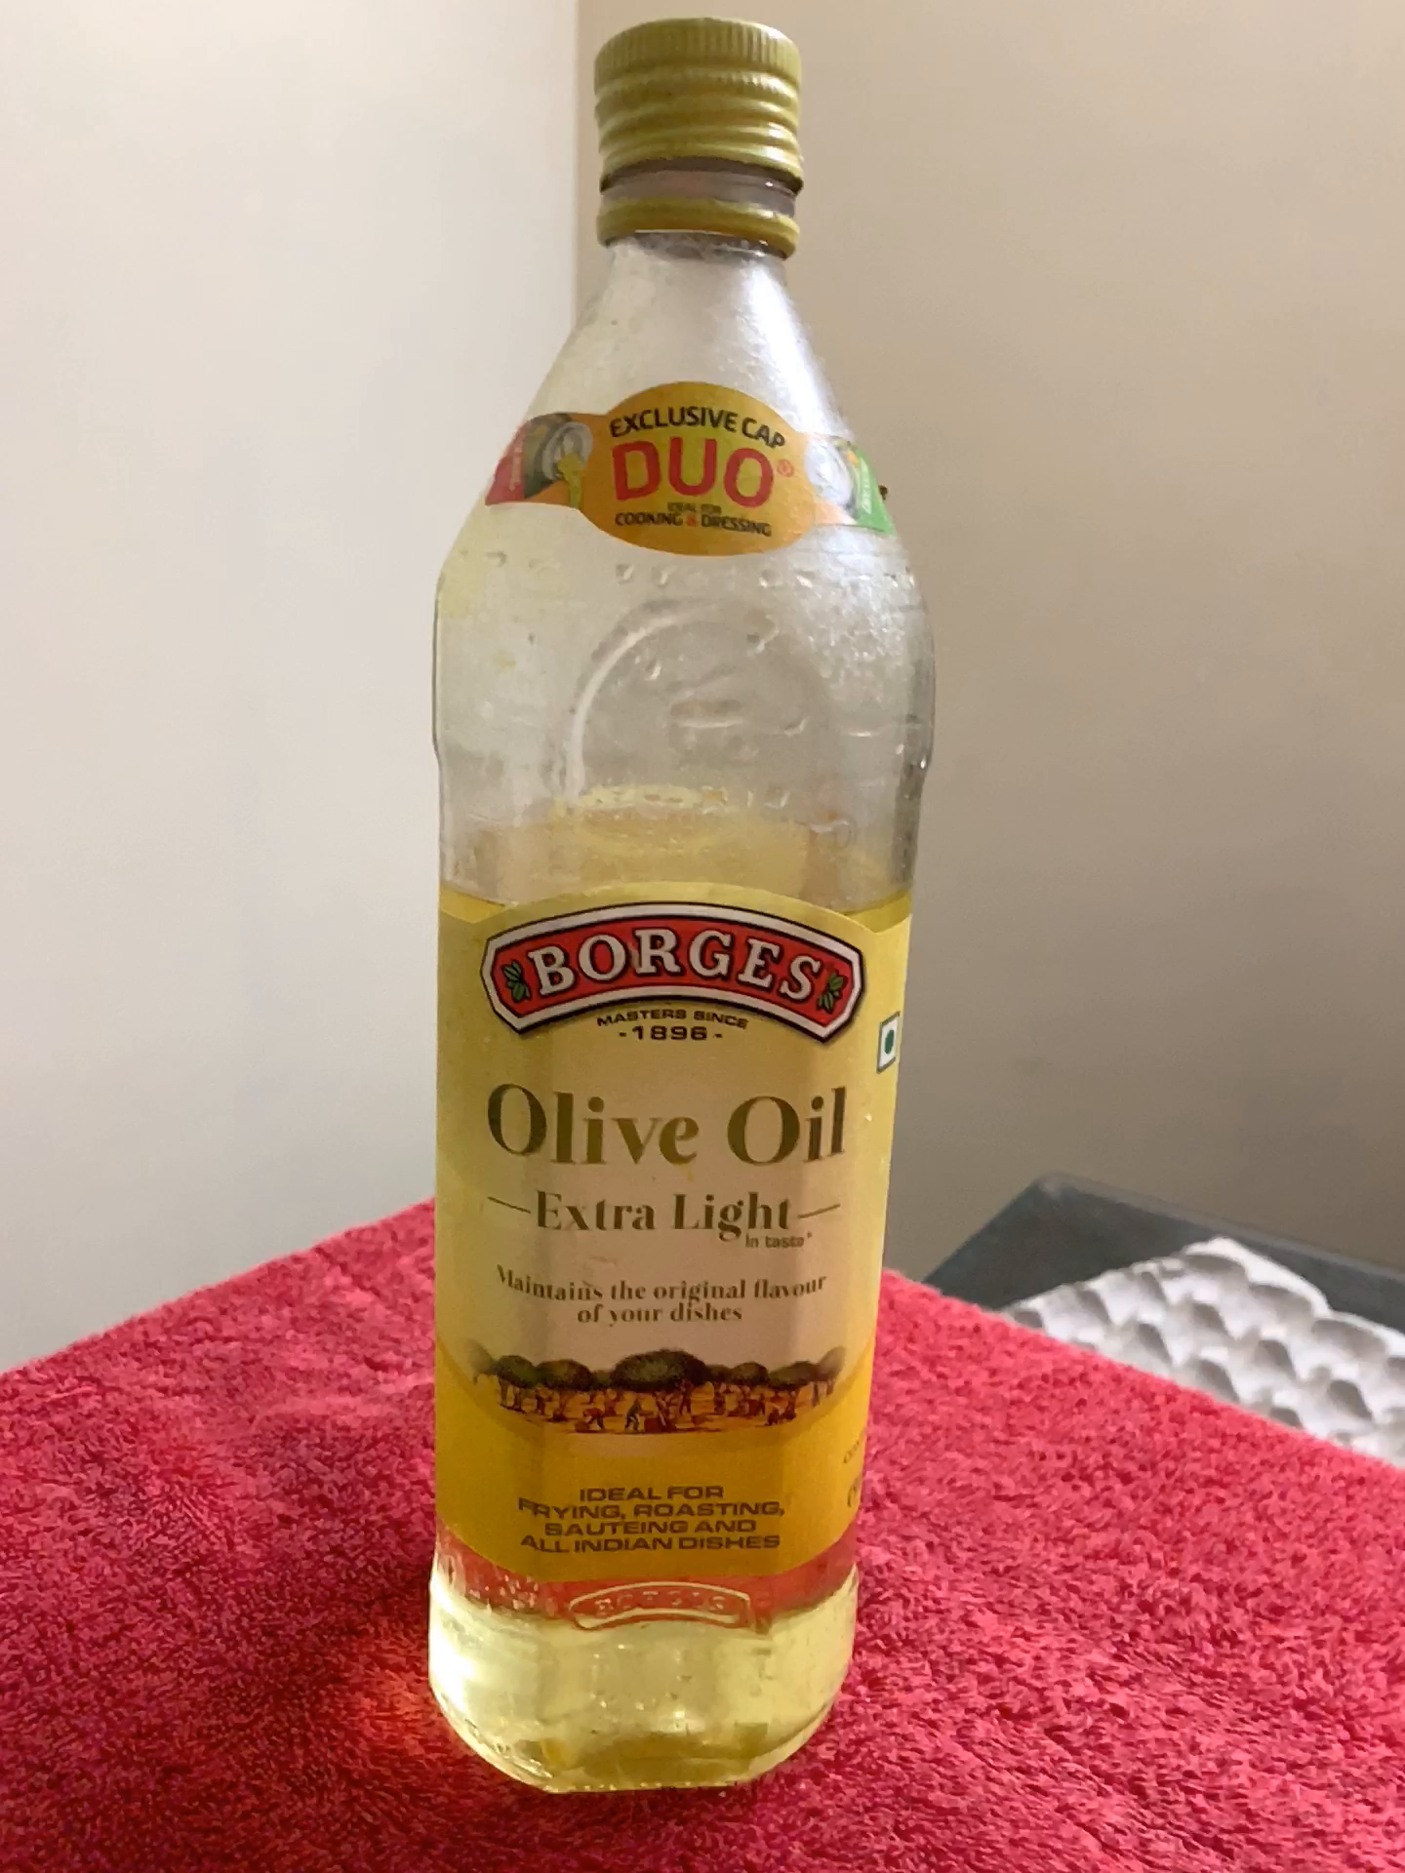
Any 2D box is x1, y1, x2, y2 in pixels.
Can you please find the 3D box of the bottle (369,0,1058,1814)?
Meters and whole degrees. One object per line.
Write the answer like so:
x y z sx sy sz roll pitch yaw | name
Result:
-0.005 0.001 0.237 0.080 0.269 0.070 1 15 -4 | bottle
